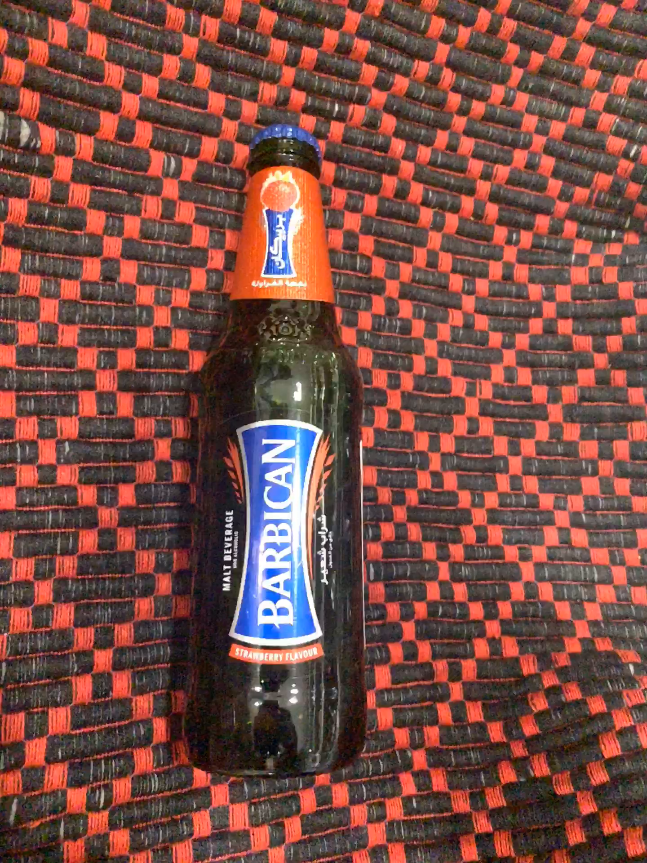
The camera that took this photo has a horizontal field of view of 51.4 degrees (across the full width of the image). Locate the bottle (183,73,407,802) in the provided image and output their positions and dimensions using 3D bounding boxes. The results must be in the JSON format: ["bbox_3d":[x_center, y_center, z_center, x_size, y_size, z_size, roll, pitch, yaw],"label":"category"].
[{"bbox_3d":[-0.014,-0.003,0.237,0.060,0.070,0.220,0,78,-7],"label":"bottle"}]
